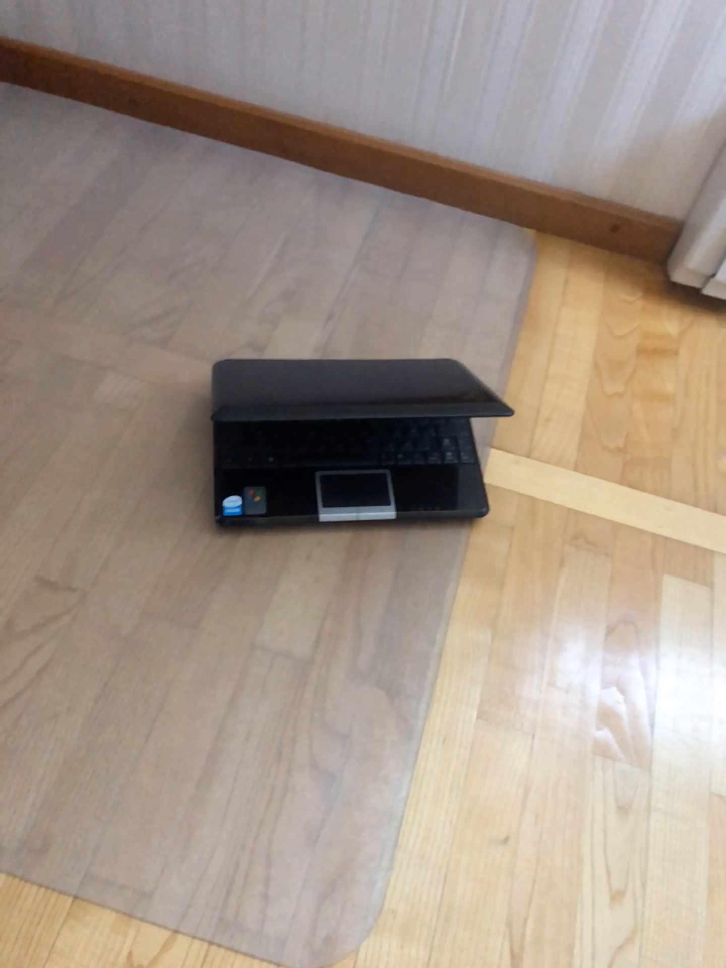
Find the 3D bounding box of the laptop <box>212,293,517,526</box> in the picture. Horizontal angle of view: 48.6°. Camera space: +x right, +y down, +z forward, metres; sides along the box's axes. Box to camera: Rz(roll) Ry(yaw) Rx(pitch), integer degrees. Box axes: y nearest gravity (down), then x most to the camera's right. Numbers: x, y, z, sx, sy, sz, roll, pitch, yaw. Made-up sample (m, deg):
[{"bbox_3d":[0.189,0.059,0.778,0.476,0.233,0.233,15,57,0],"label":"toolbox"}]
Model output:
[{"bbox_3d":[-0.009,-0.075,0.772,0.263,0.102,0.183,-2,59,-11],"label":"laptop"}]
